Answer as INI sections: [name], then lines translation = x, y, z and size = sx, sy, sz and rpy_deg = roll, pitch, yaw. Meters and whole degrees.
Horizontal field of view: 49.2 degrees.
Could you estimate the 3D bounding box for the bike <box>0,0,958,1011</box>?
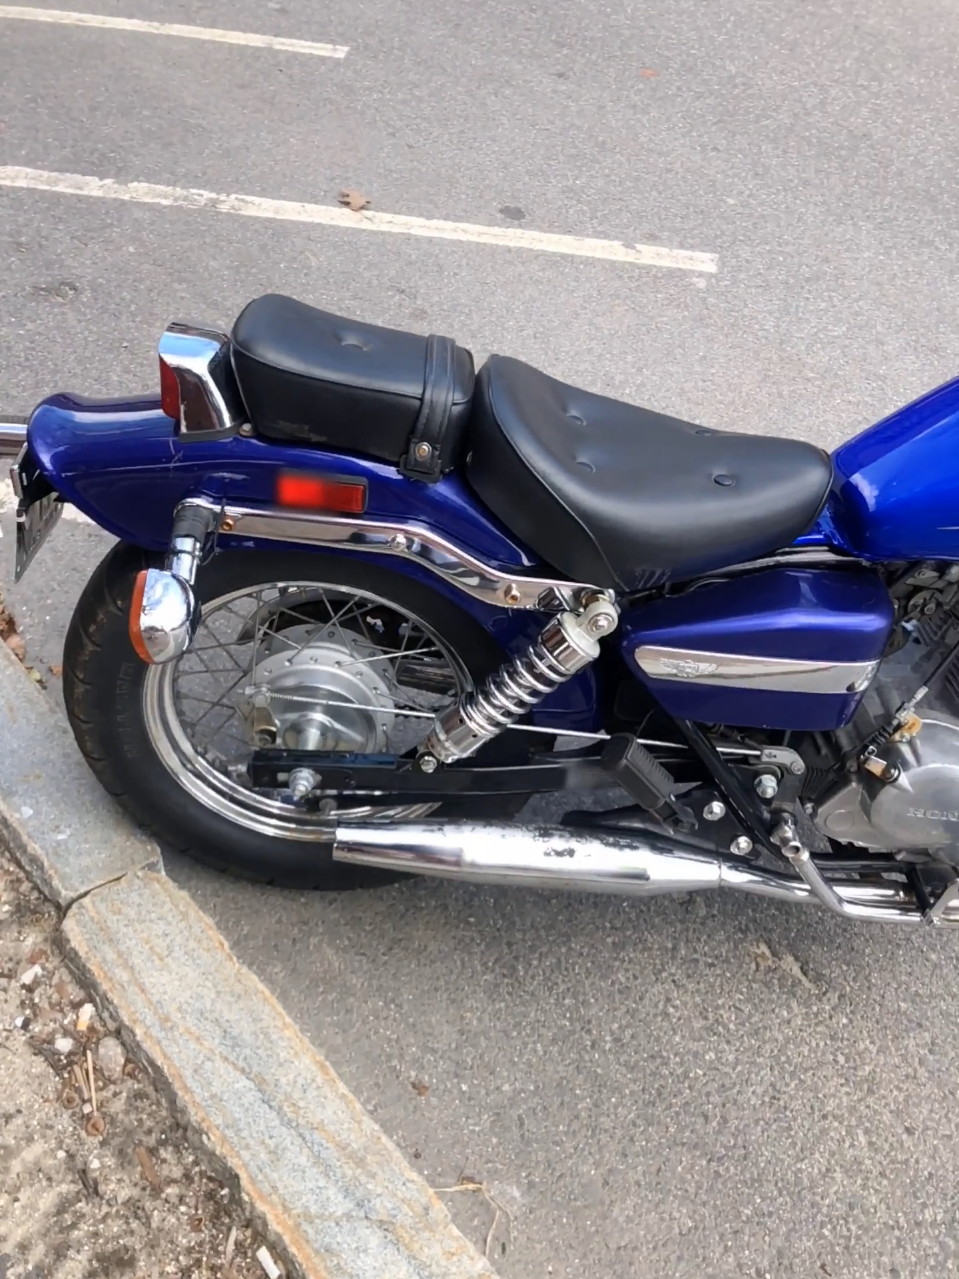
[bike]
translation = 0.541, -0.202, 1.225
size = 1.907, 1.037, 0.793
rpy_deg = 1, 45, -5
